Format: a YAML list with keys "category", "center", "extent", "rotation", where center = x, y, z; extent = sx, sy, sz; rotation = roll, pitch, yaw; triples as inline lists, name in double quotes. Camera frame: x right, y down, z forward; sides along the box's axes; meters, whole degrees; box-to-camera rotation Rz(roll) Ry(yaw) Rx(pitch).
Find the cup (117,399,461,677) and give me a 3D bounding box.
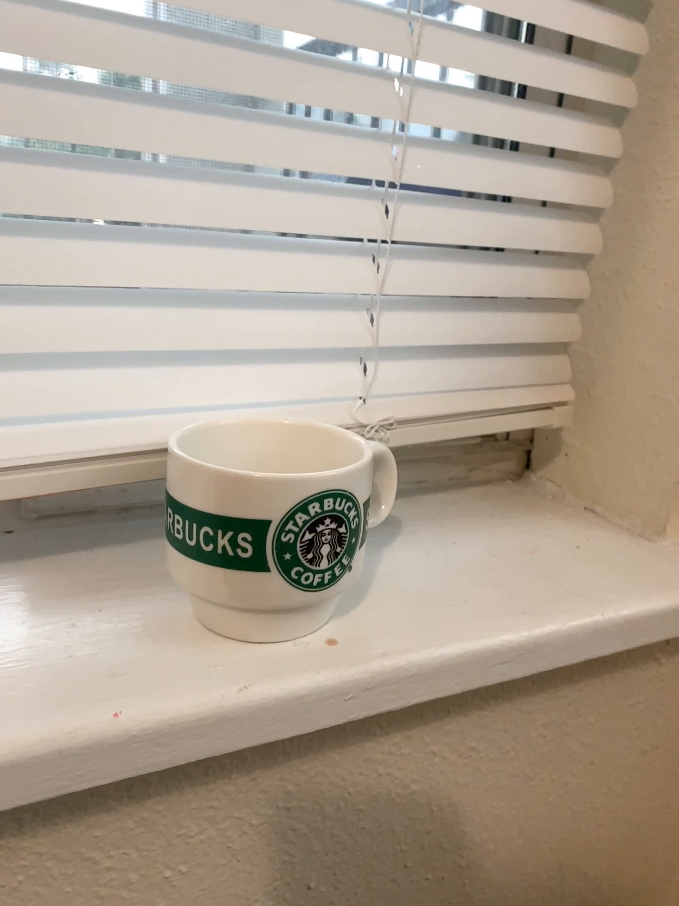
- category: "cup"
  center: [-0.017, 0.021, 0.257]
  extent: [0.070, 0.060, 0.100]
  rotation: [19, 21, 41]
